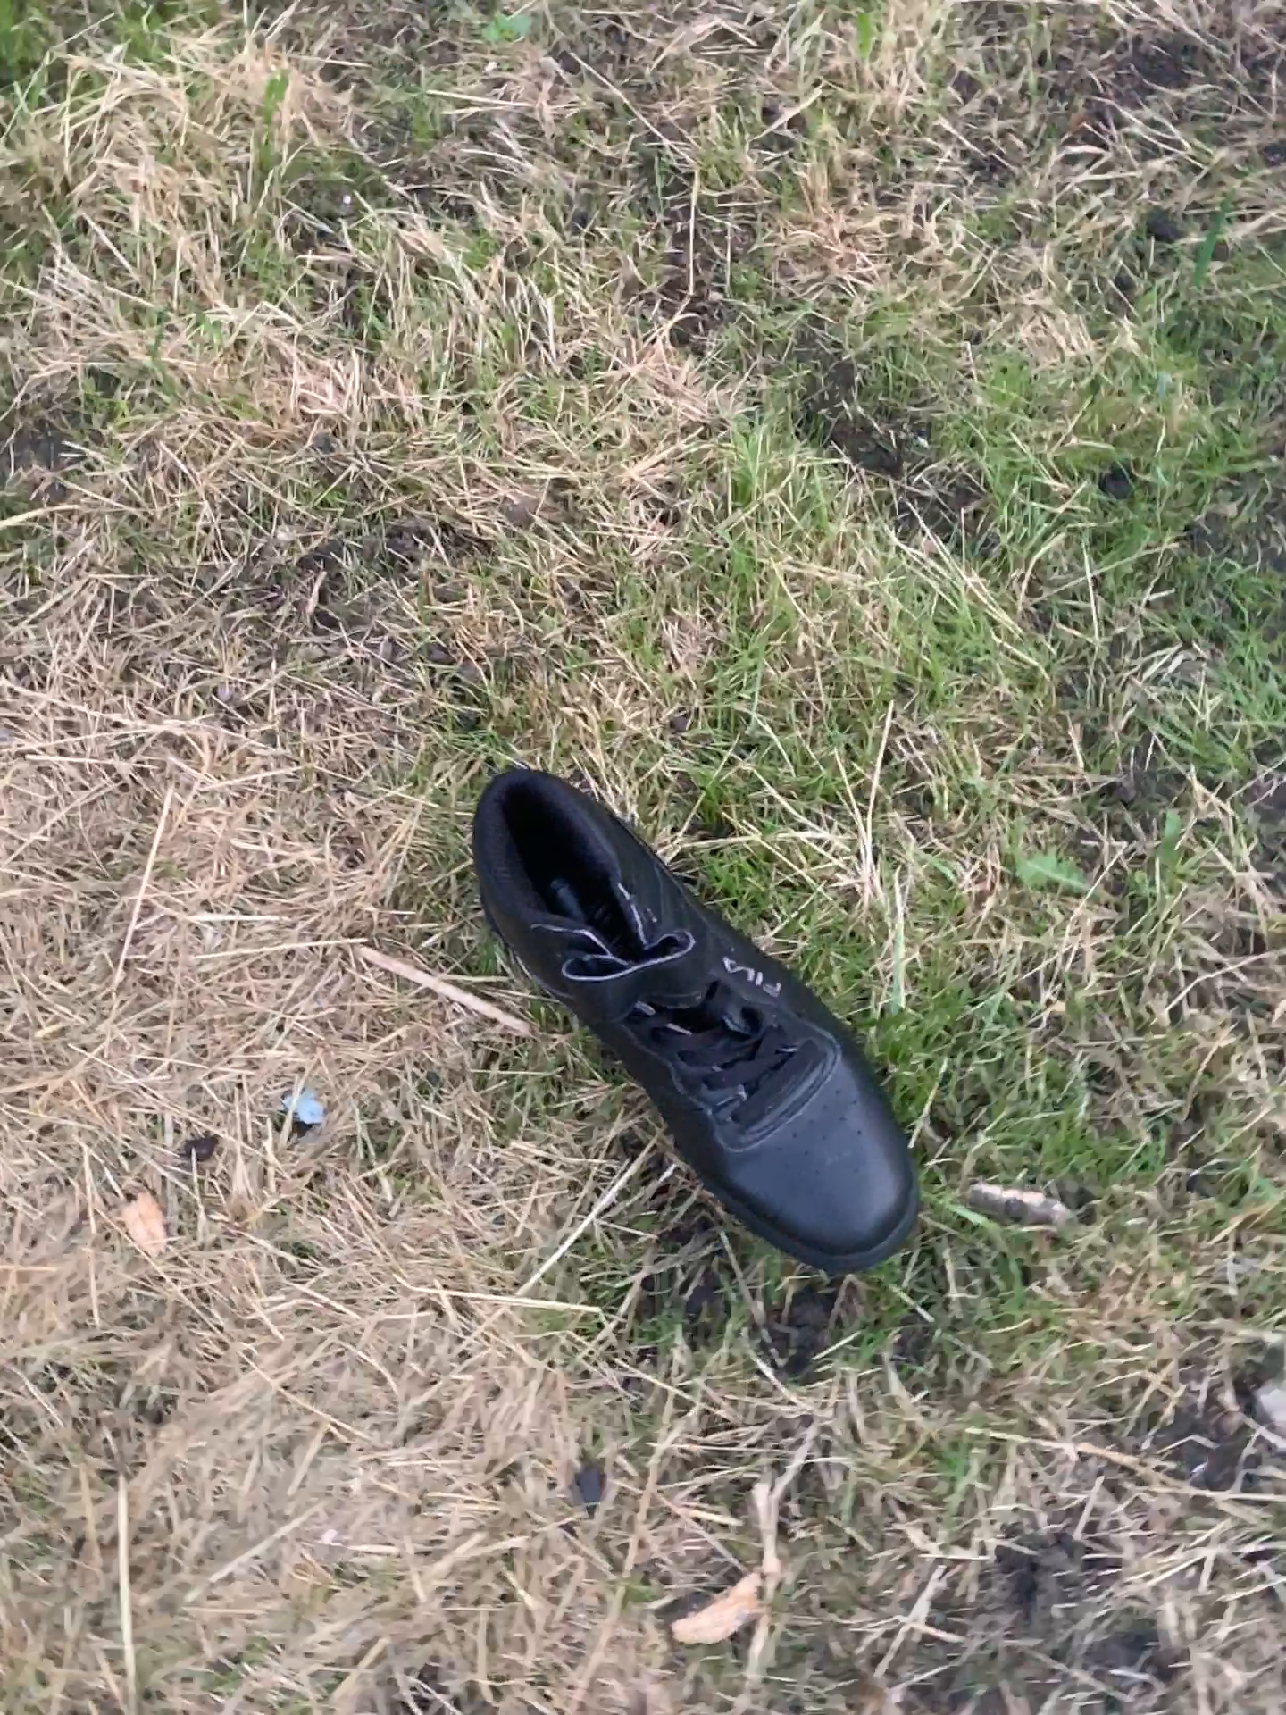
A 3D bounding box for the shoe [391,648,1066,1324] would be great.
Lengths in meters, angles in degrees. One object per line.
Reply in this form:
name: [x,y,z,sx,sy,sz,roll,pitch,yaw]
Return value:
shoe: [0.027,0.058,0.575,0.110,0.119,0.271,-41,75,-17]
